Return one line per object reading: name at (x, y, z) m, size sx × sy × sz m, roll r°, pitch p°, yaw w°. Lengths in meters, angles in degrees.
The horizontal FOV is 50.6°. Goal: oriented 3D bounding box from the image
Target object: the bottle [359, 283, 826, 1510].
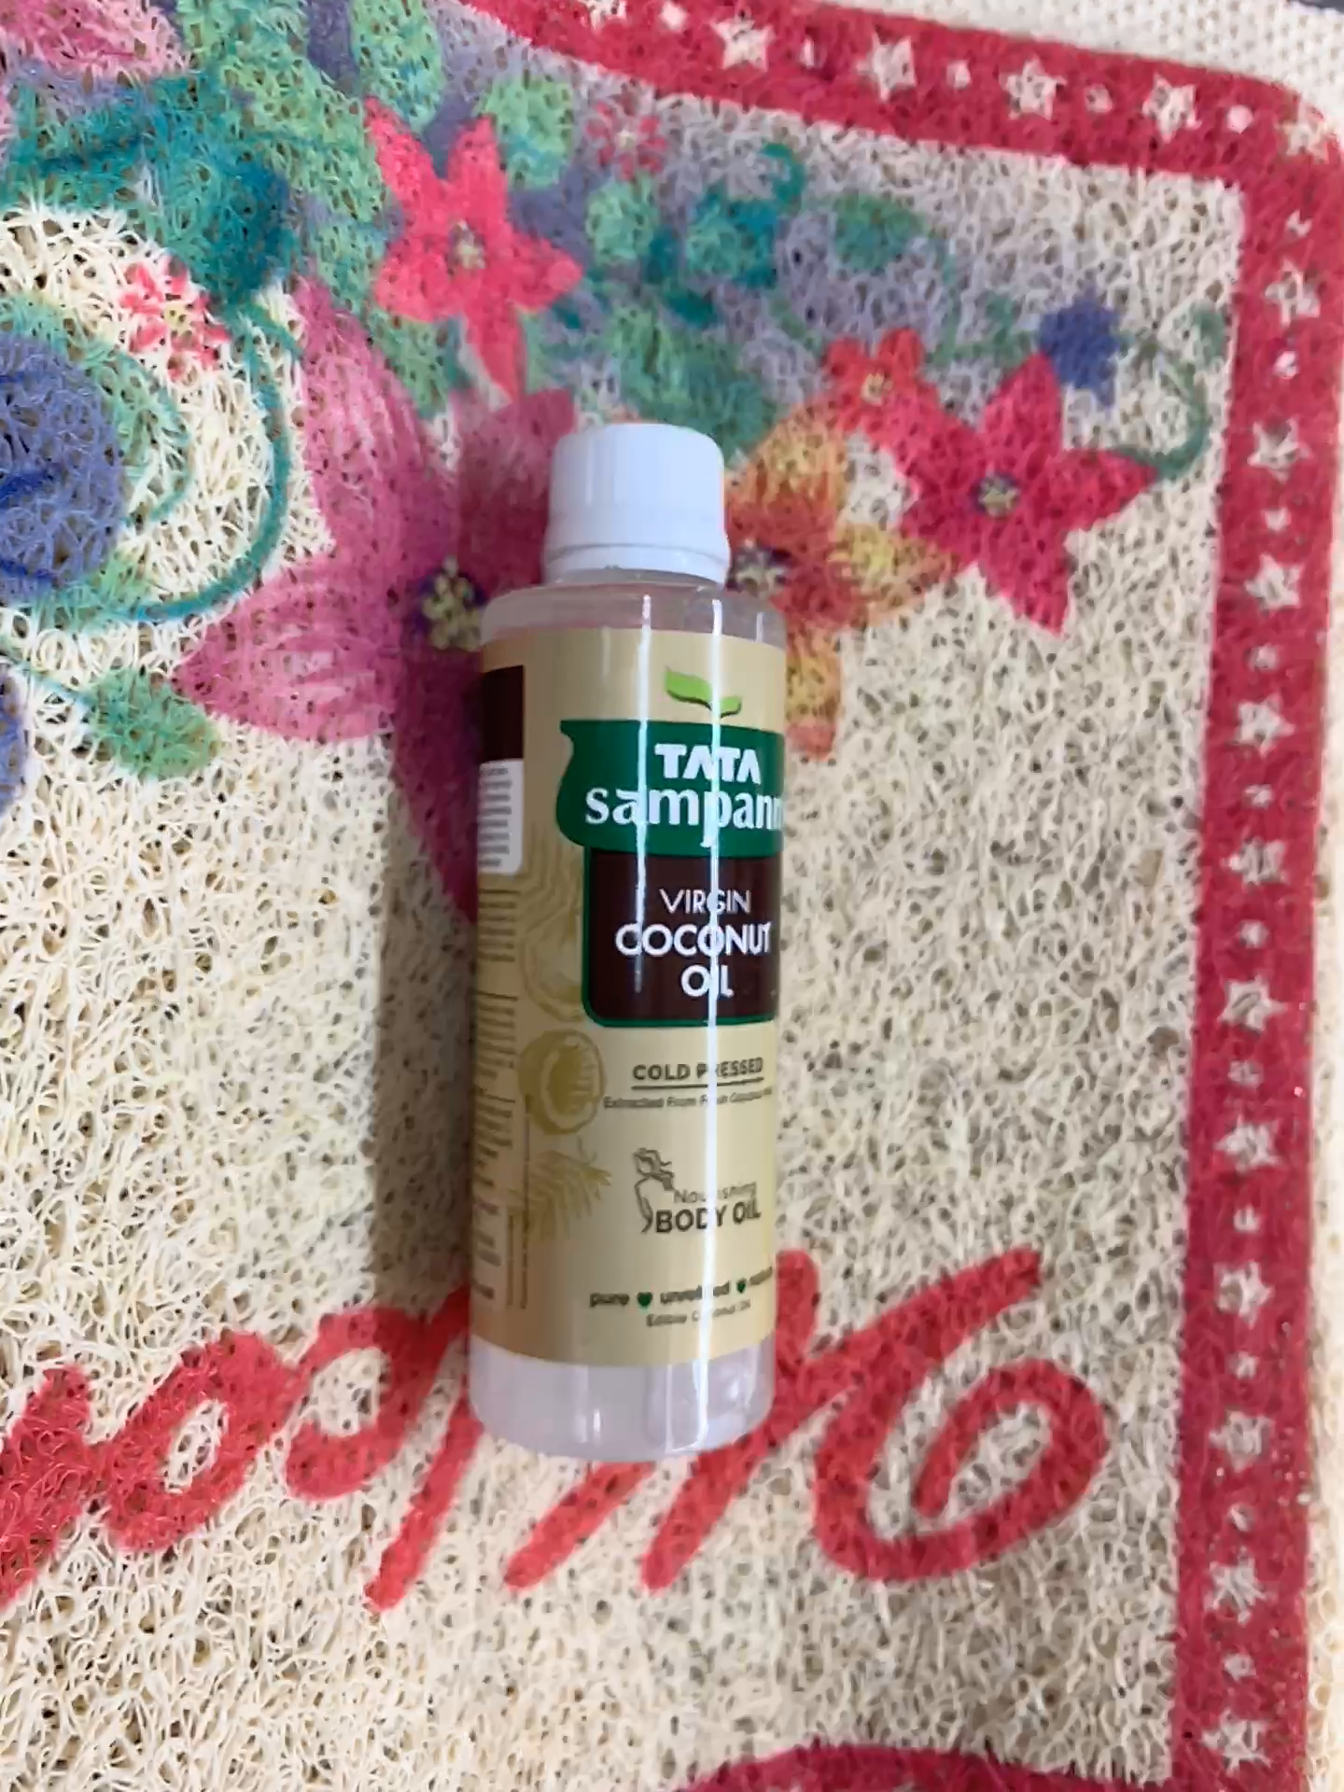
bottle at (-0.010, 0.001, 0.190) m, size 0.050 × 0.030 × 0.140 m, roll 1°, pitch 92°, yaw -39°
